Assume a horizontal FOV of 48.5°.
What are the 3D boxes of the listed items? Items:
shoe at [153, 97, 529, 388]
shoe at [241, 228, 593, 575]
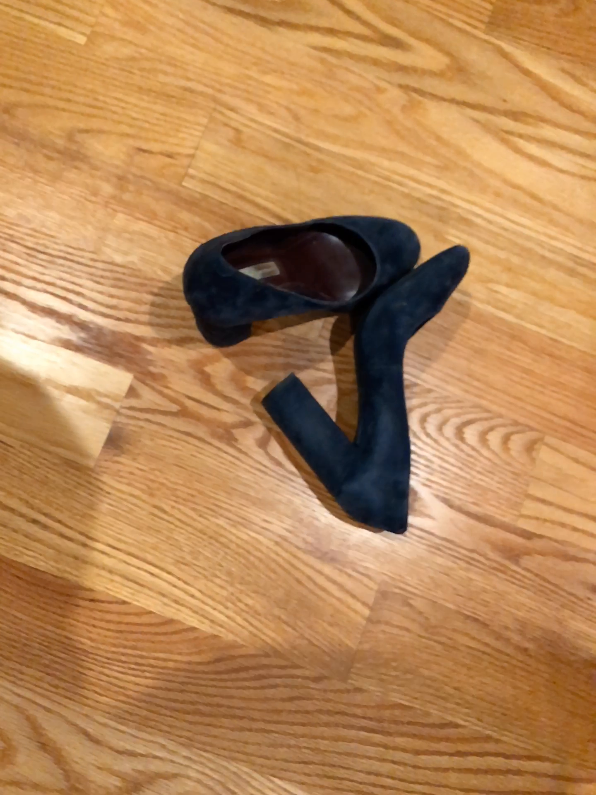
[{"bbox_3d":[0.022,-0.102,0.482,0.226,0.147,0.080,-27,87,-10],"label":"shoe"},{"bbox_3d":[0.085,0.003,0.507,0.204,0.080,0.152,-40,89,-10],"label":"shoe"}]
